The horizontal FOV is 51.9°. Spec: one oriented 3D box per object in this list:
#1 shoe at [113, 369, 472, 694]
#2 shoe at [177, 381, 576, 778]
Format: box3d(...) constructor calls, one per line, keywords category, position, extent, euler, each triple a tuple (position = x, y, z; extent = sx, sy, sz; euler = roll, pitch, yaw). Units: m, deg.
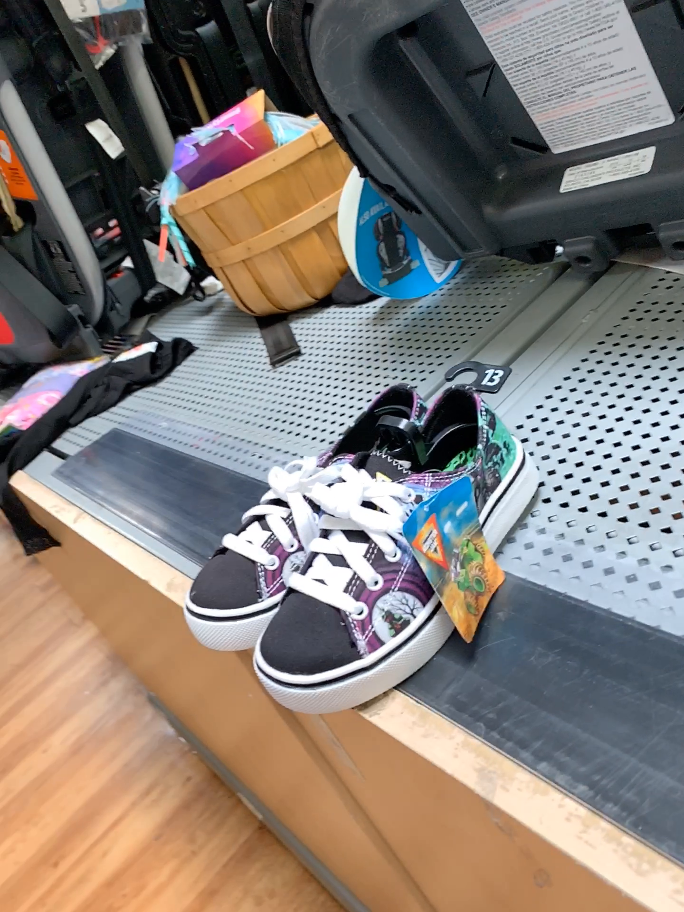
box3d(category="shoe", position=(-0.028, 0.037, 0.458), extent=(0.208, 0.073, 0.092), euler=(-39, 31, -20))
box3d(category="shoe", position=(0.028, 0.051, 0.394), extent=(0.213, 0.073, 0.090), euler=(-43, 33, -26))
